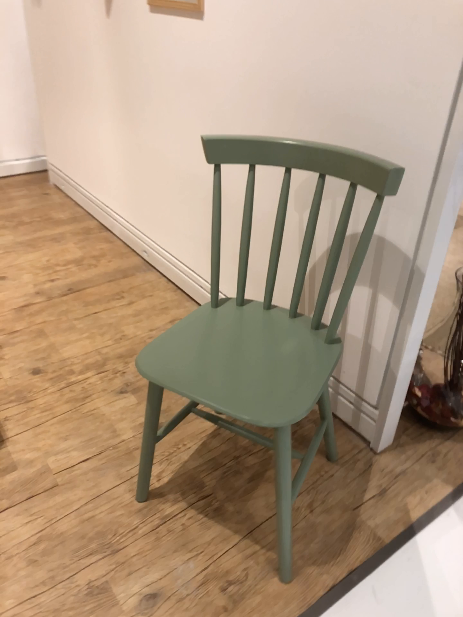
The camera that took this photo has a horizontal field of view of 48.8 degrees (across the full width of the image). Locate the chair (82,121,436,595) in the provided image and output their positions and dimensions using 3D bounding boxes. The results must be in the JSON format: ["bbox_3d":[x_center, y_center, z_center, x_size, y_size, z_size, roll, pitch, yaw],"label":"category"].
[{"bbox_3d":[0.069,0.076,1.161,0.471,0.813,0.523,19,35,24],"label":"chair"}]
